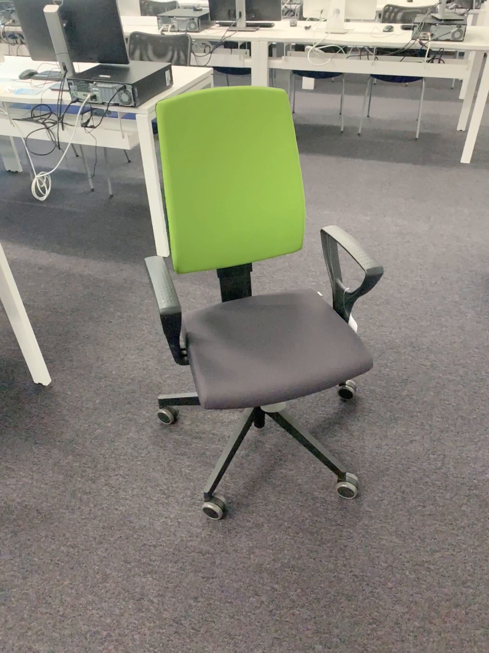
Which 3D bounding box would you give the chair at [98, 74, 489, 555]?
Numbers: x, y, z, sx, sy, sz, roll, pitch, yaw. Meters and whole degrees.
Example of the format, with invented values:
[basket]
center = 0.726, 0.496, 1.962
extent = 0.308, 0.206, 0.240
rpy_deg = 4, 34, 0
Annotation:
[chair]
center = 0.090, -0.039, 1.432
extent = 0.721, 1.054, 0.673
rpy_deg = -13, 40, -15
